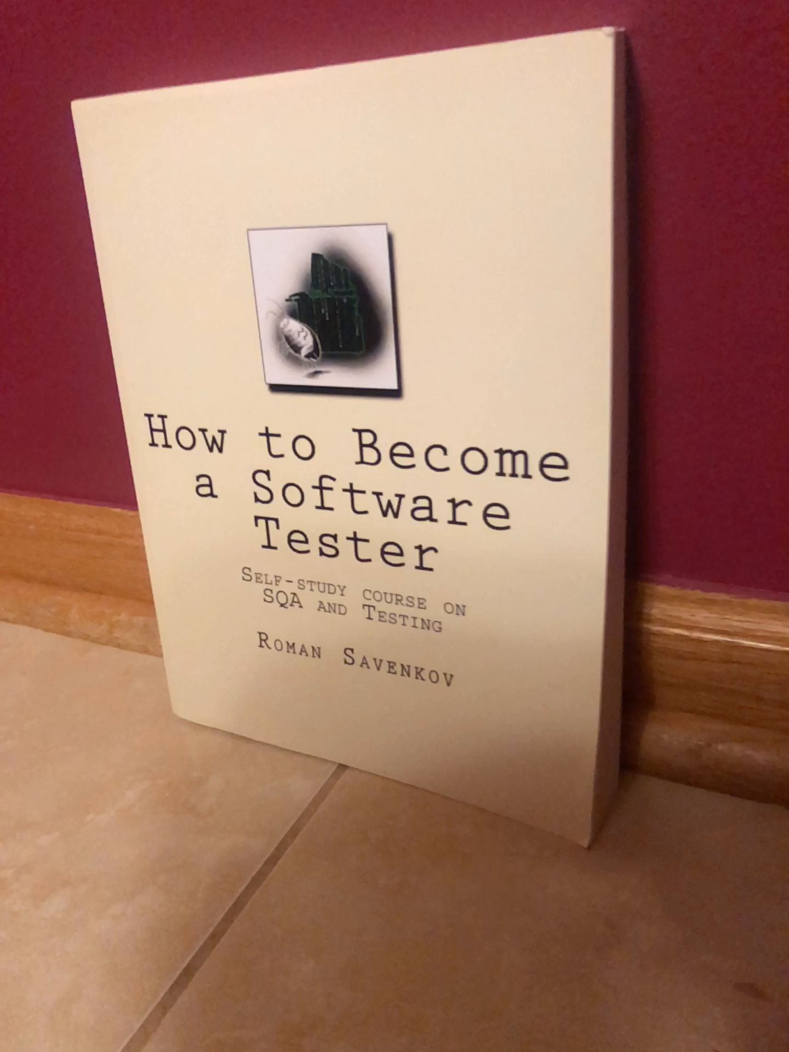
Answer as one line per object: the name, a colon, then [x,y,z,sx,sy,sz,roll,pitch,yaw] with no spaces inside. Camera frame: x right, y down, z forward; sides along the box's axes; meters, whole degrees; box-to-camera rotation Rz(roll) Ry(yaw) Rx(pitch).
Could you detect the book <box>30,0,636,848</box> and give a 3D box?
book: [-0.022,-0.030,0.346,0.220,0.274,0.045,7,23,30]
